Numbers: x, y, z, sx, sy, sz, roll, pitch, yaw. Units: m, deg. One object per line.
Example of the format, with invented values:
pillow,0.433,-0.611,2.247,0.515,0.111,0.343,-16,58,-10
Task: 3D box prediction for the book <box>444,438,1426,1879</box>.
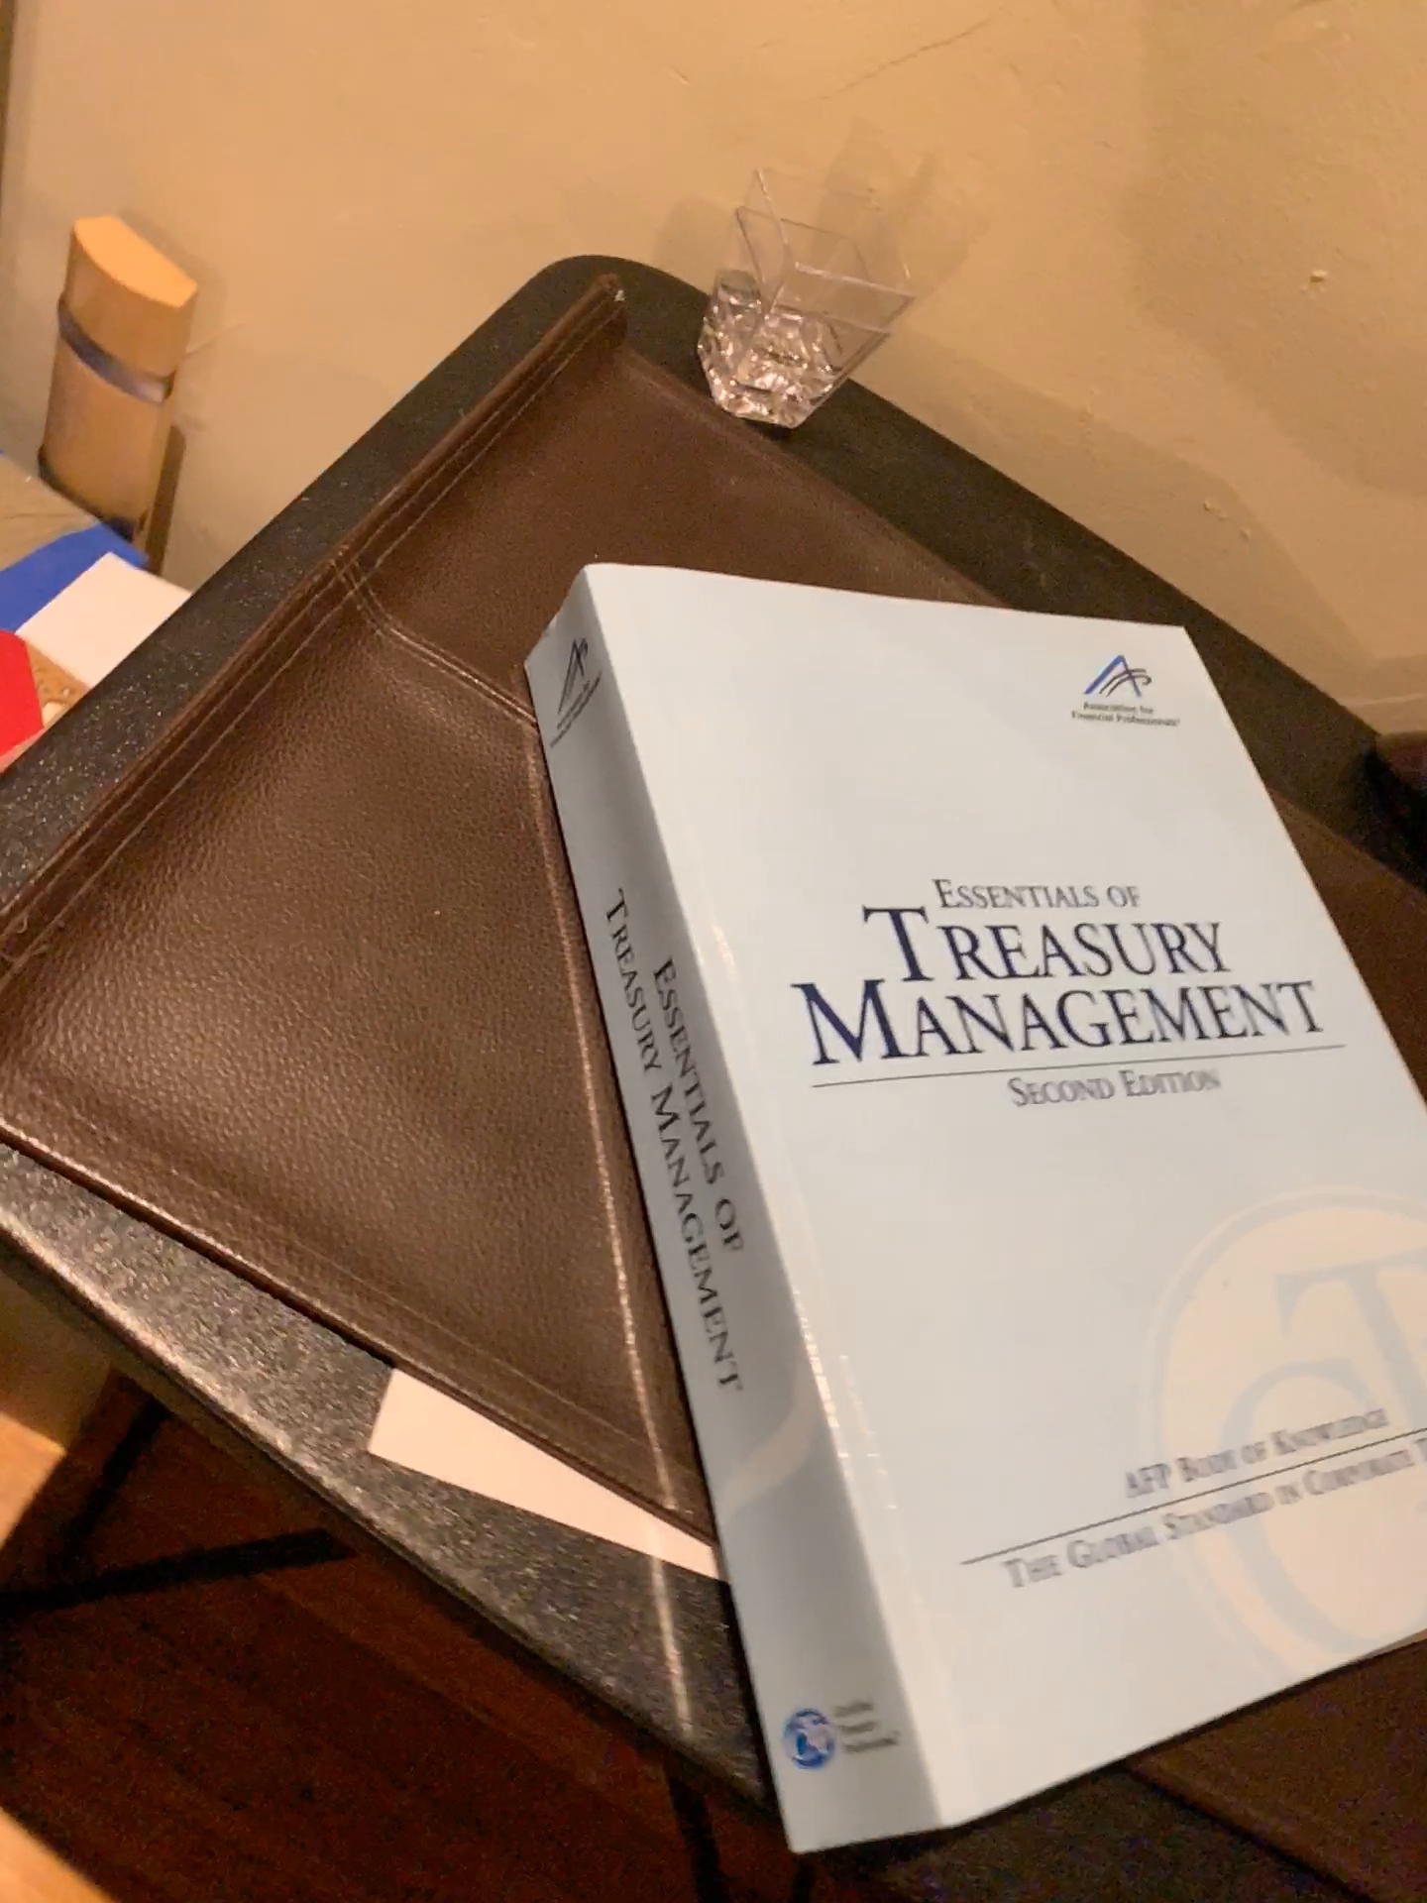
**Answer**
book,0.072,0.023,0.362,0.221,0.060,0.300,0,61,-29
